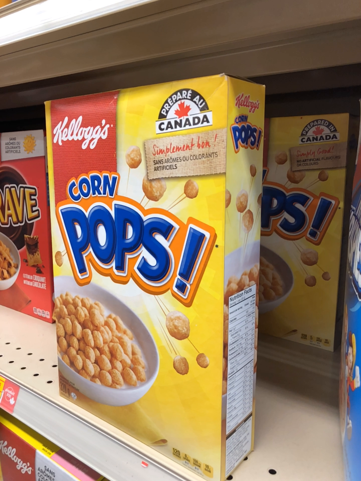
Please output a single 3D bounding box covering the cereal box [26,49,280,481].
[{"bbox_3d":[-0.033,0.017,0.337,0.210,0.289,0.060,8,15,38],"label":"cereal box"}]
